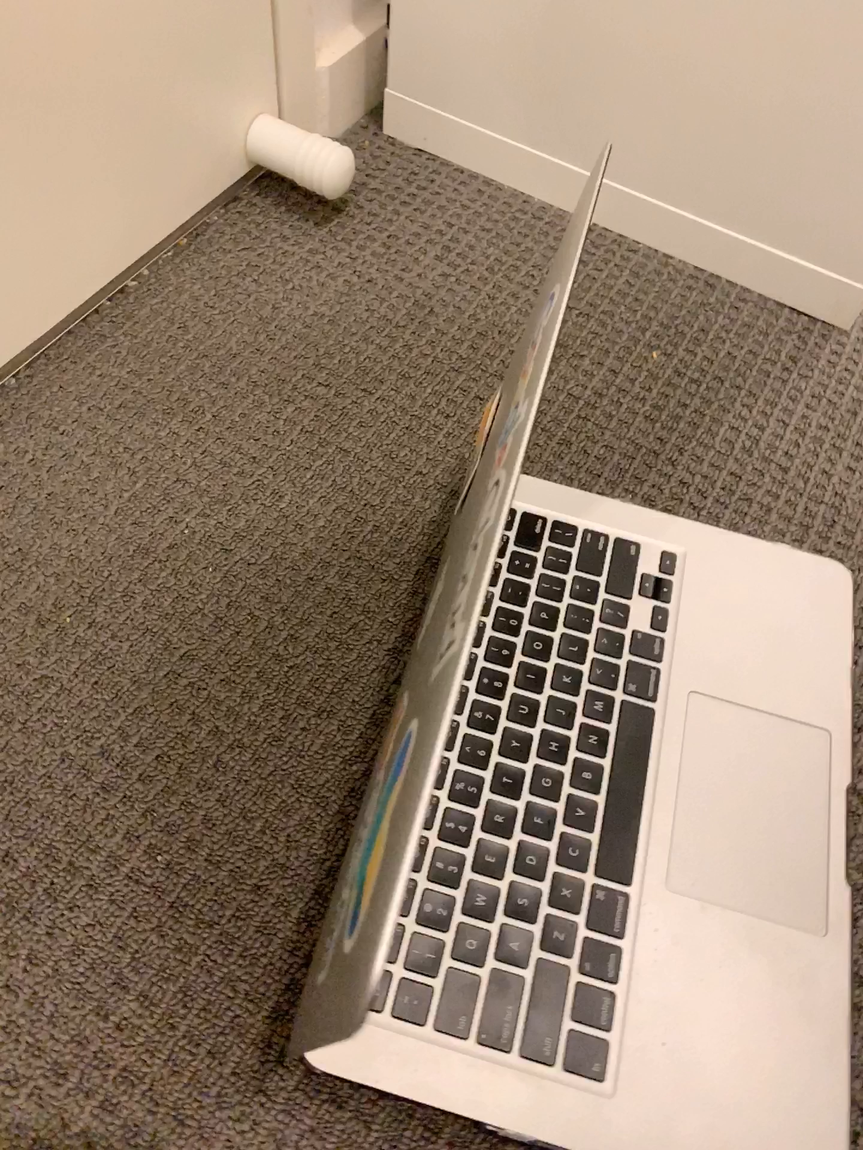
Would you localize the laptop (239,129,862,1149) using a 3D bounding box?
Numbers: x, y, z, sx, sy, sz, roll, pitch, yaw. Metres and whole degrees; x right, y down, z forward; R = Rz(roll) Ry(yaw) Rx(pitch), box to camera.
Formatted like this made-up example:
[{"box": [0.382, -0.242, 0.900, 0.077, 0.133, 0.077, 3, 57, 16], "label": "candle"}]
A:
[{"box": [0.102, 0.041, 0.348, 0.226, 0.215, 0.323, 15, 58, 3], "label": "laptop"}]
